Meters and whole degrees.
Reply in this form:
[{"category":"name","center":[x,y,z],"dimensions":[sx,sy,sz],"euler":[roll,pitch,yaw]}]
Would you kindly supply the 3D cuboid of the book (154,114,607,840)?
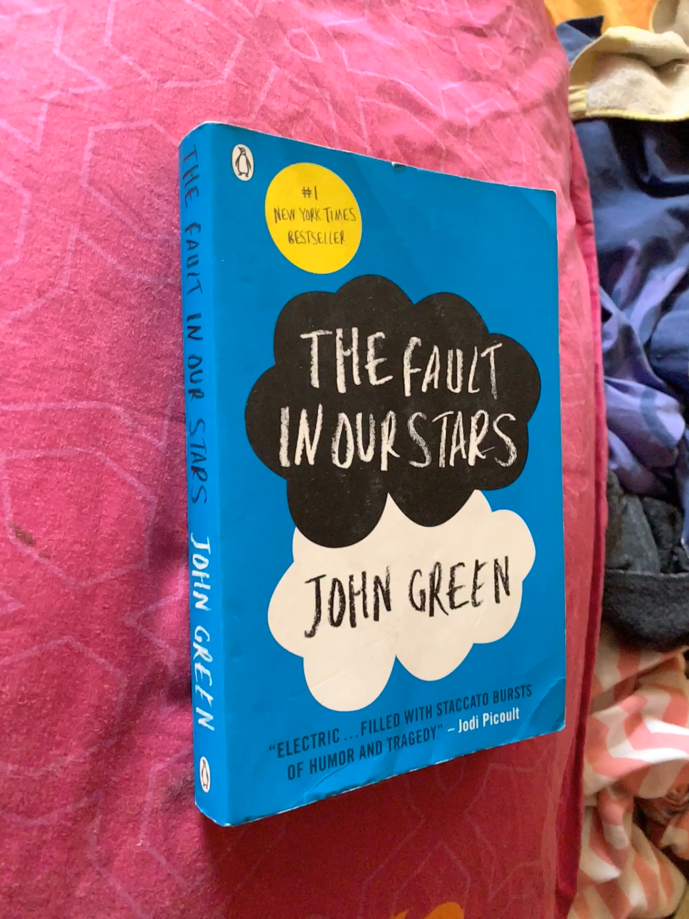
[{"category":"book","center":[0.015,0.000,0.221],"dimensions":[0.130,0.030,0.179],"euler":[-2,85,-30]}]
